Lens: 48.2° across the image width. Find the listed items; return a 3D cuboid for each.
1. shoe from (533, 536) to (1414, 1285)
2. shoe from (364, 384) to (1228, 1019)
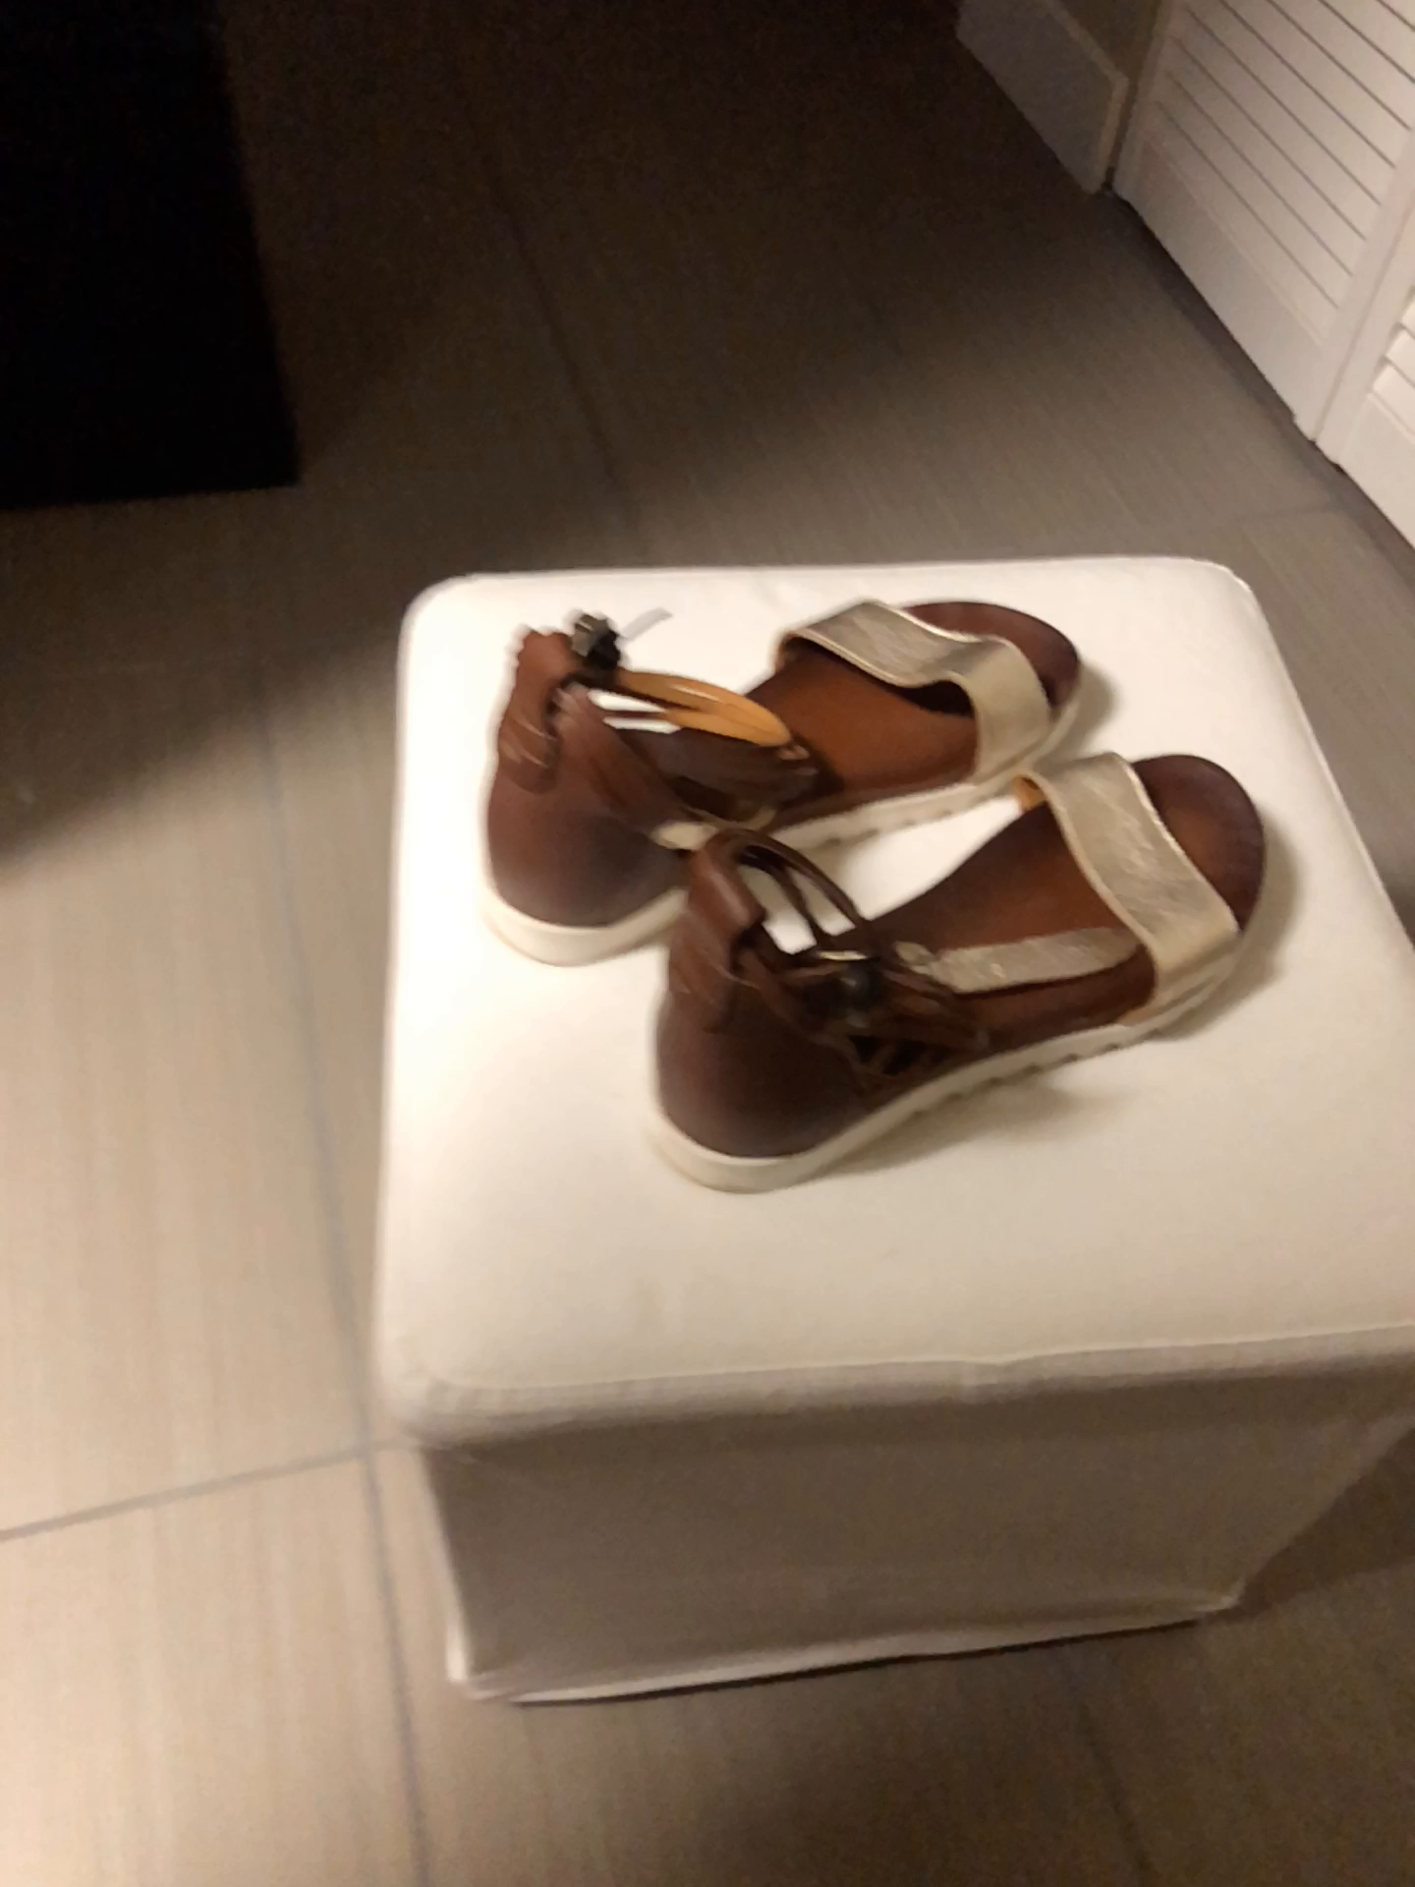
[{"bbox_3d":[0.090,-0.020,0.482,0.260,0.090,0.110,-24,57,-22],"label":"shoe"},{"bbox_3d":[0.031,-0.091,0.541,0.260,0.090,0.110,-24,57,-22],"label":"shoe"}]
